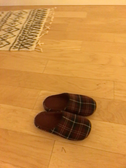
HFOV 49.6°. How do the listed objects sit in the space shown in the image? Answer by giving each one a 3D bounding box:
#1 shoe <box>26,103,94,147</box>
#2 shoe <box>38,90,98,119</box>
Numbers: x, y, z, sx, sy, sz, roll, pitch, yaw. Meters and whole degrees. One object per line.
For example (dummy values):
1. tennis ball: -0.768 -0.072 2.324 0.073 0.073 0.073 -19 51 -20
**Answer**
1. shoe: -0.010 0.171 0.595 0.270 0.030 0.121 10 52 15
2. shoe: 0.027 0.092 0.654 0.270 0.030 0.121 3 51 10
